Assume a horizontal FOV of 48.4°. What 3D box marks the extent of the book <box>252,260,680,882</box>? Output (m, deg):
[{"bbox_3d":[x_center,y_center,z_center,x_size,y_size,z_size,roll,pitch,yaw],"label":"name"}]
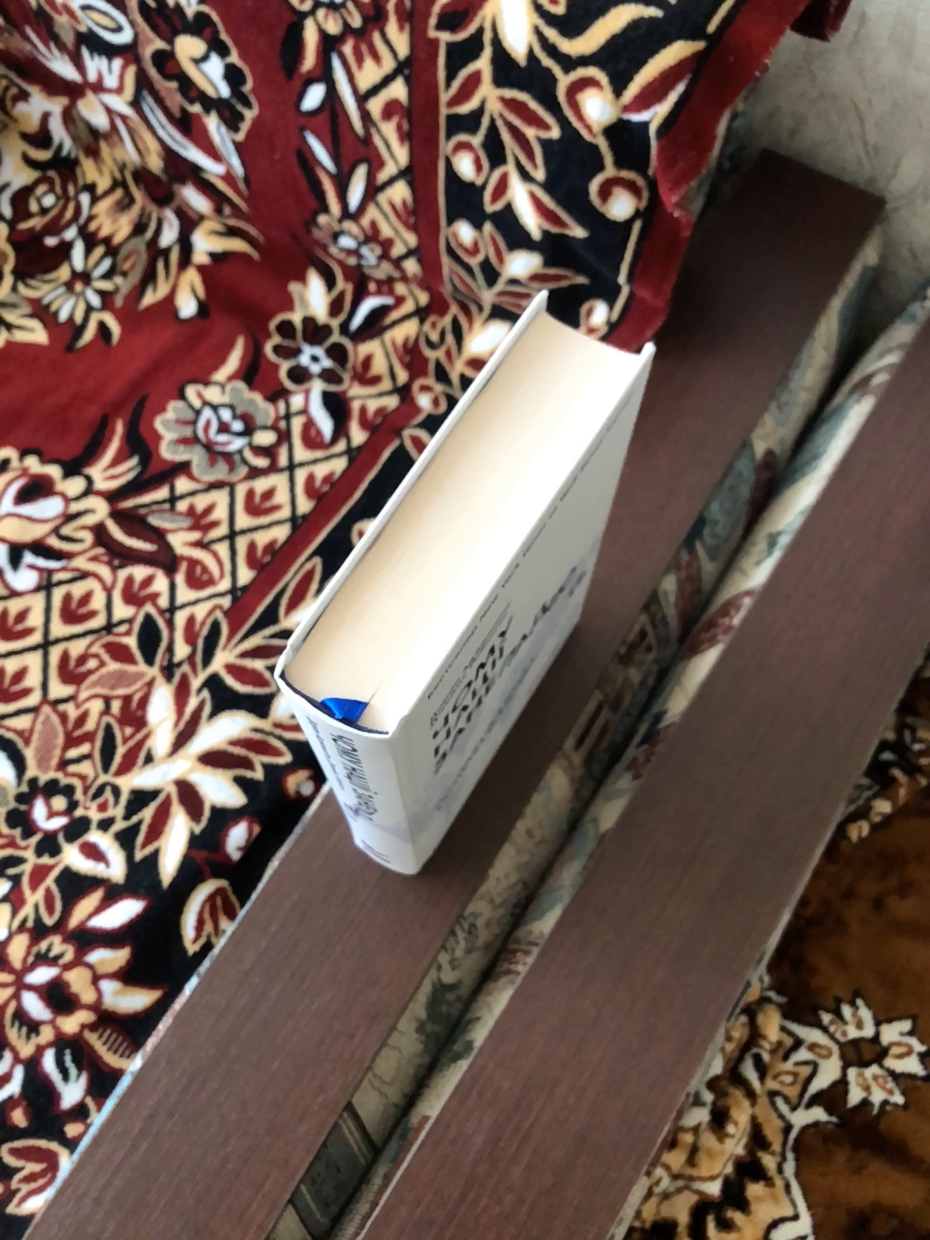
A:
[{"bbox_3d":[0.005,0.003,0.377,0.042,0.213,0.151,30,71,12],"label":"book"}]
